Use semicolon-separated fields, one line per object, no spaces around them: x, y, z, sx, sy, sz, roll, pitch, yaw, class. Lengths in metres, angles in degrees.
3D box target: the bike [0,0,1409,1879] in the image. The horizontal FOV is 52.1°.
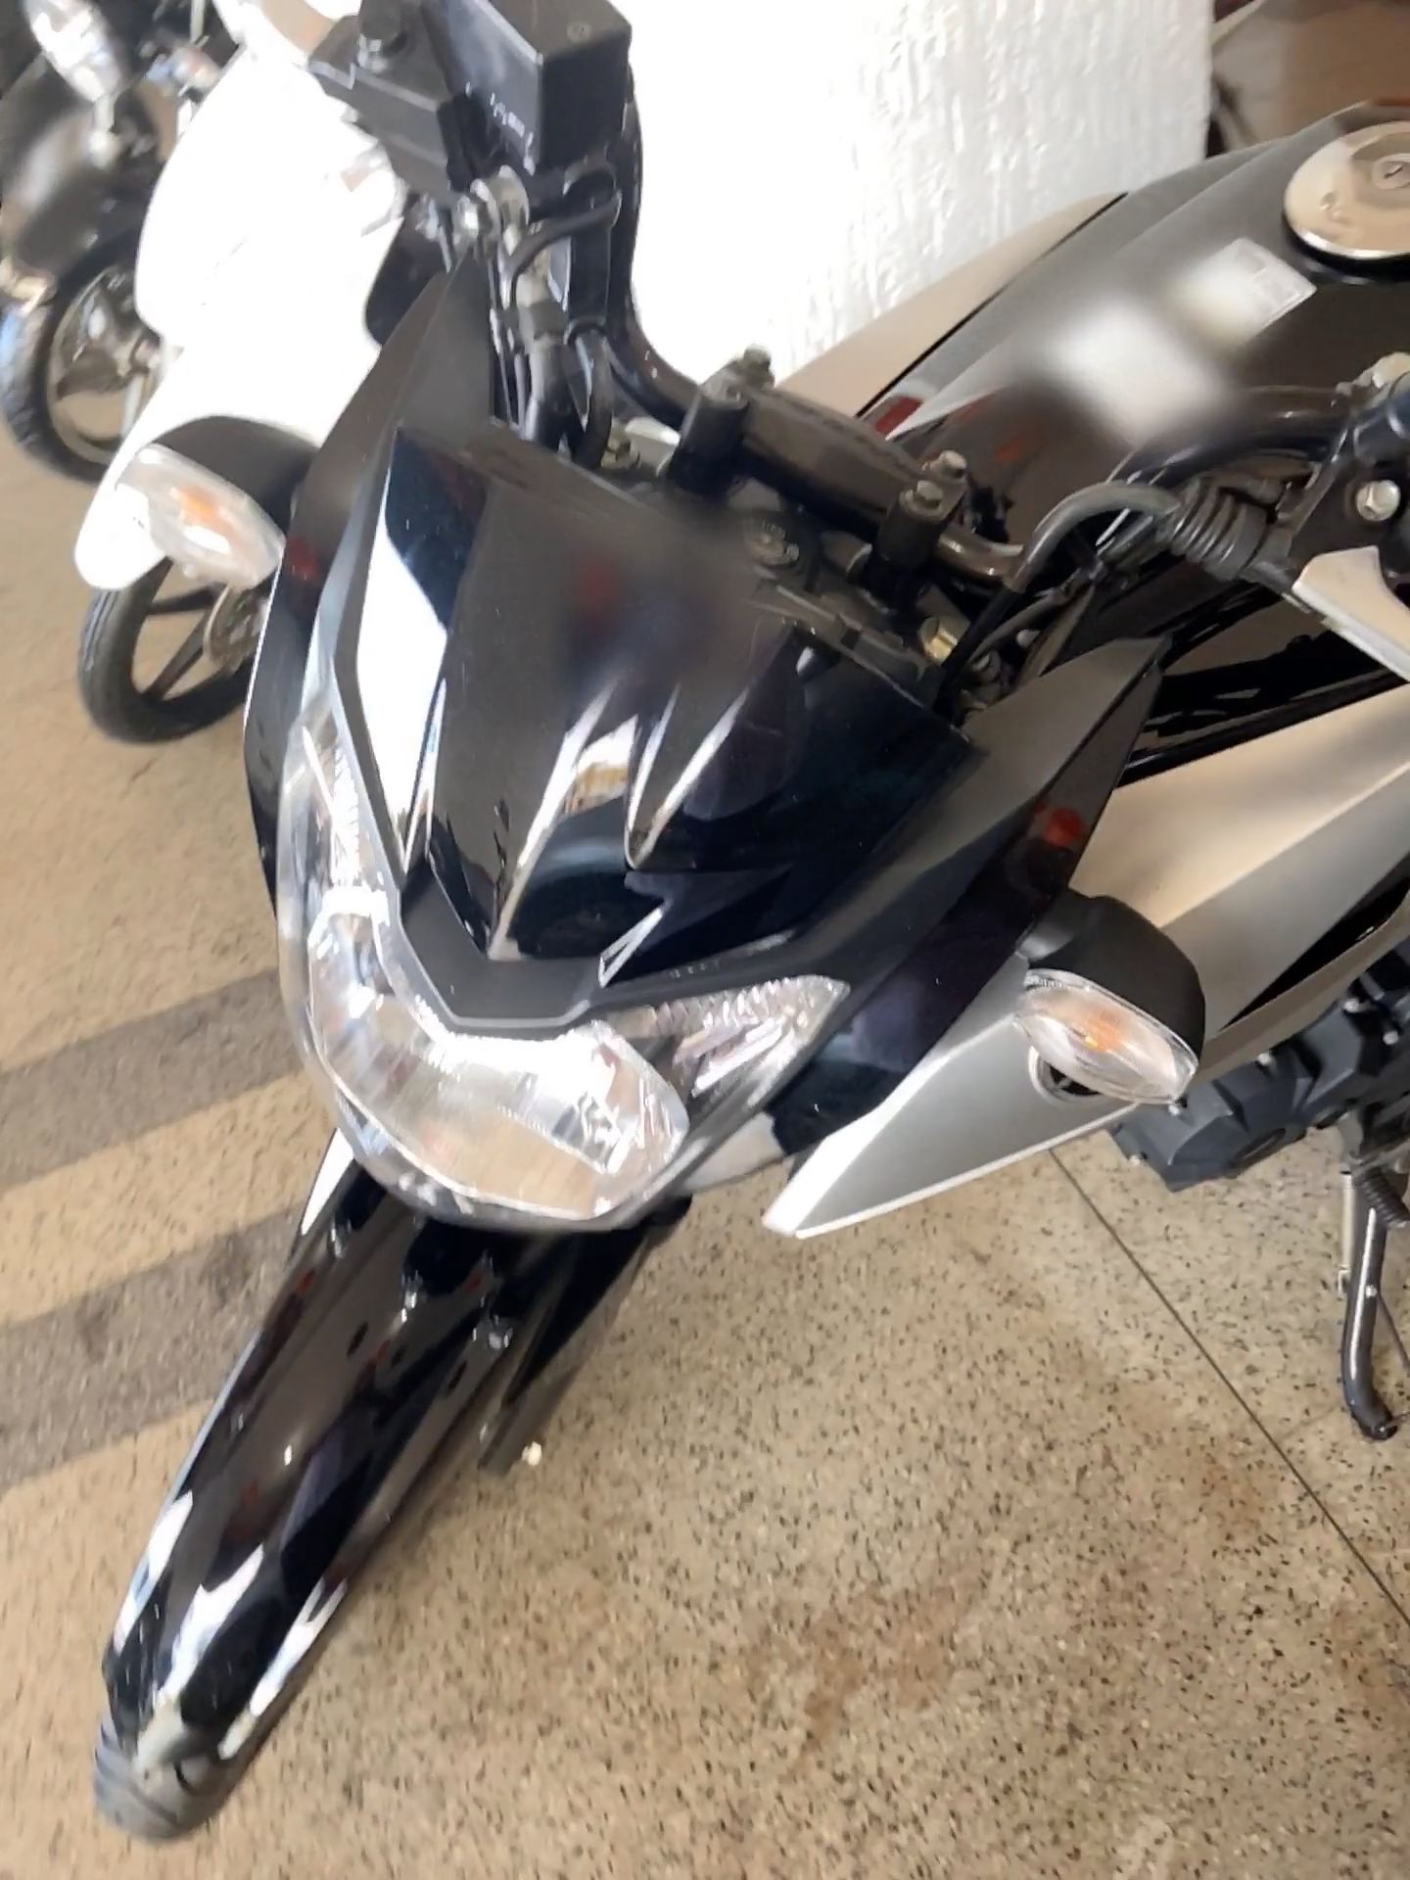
0.550;-0.002;0.822;2.004;1.331;0.819;-27;45;-14;bike
